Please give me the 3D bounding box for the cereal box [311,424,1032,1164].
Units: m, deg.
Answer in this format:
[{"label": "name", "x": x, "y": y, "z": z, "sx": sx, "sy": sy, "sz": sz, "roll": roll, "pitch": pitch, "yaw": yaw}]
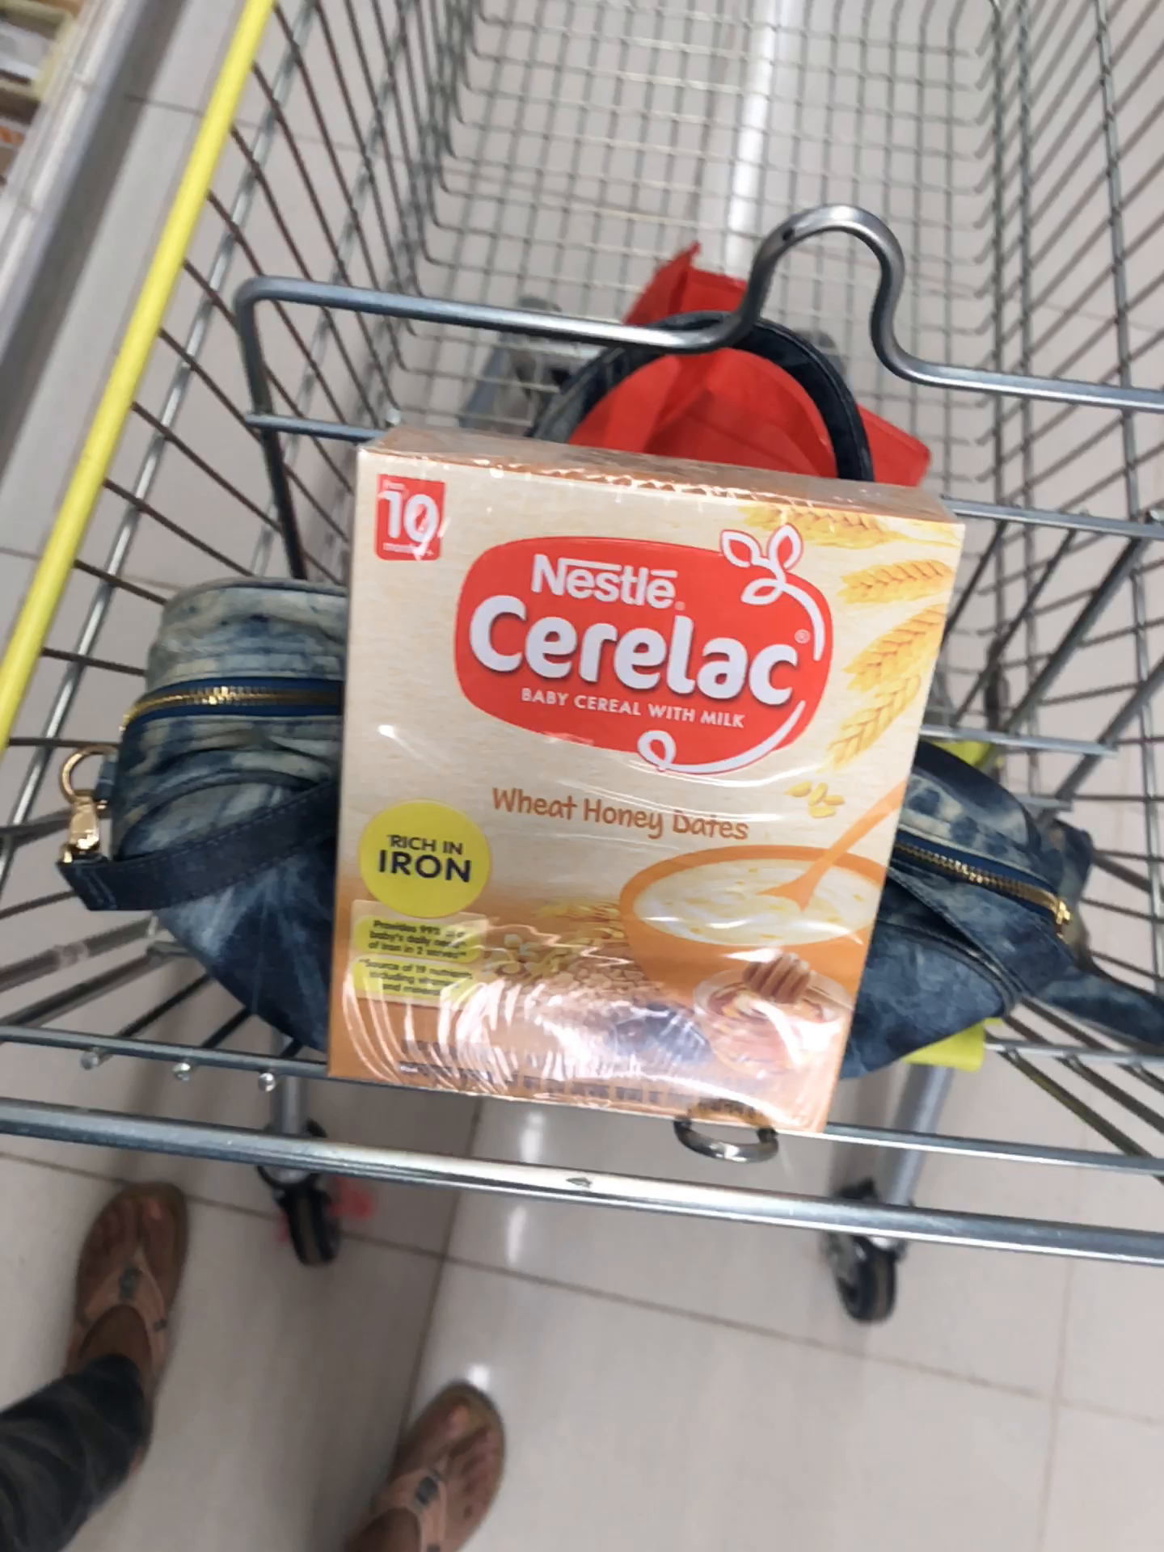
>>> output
[{"label": "cereal box", "x": 0.016, "y": 0.008, "z": 0.379, "sx": 0.170, "sy": 0.060, "sz": 0.190, "roll": 7, "pitch": 112, "yaw": -1}]
